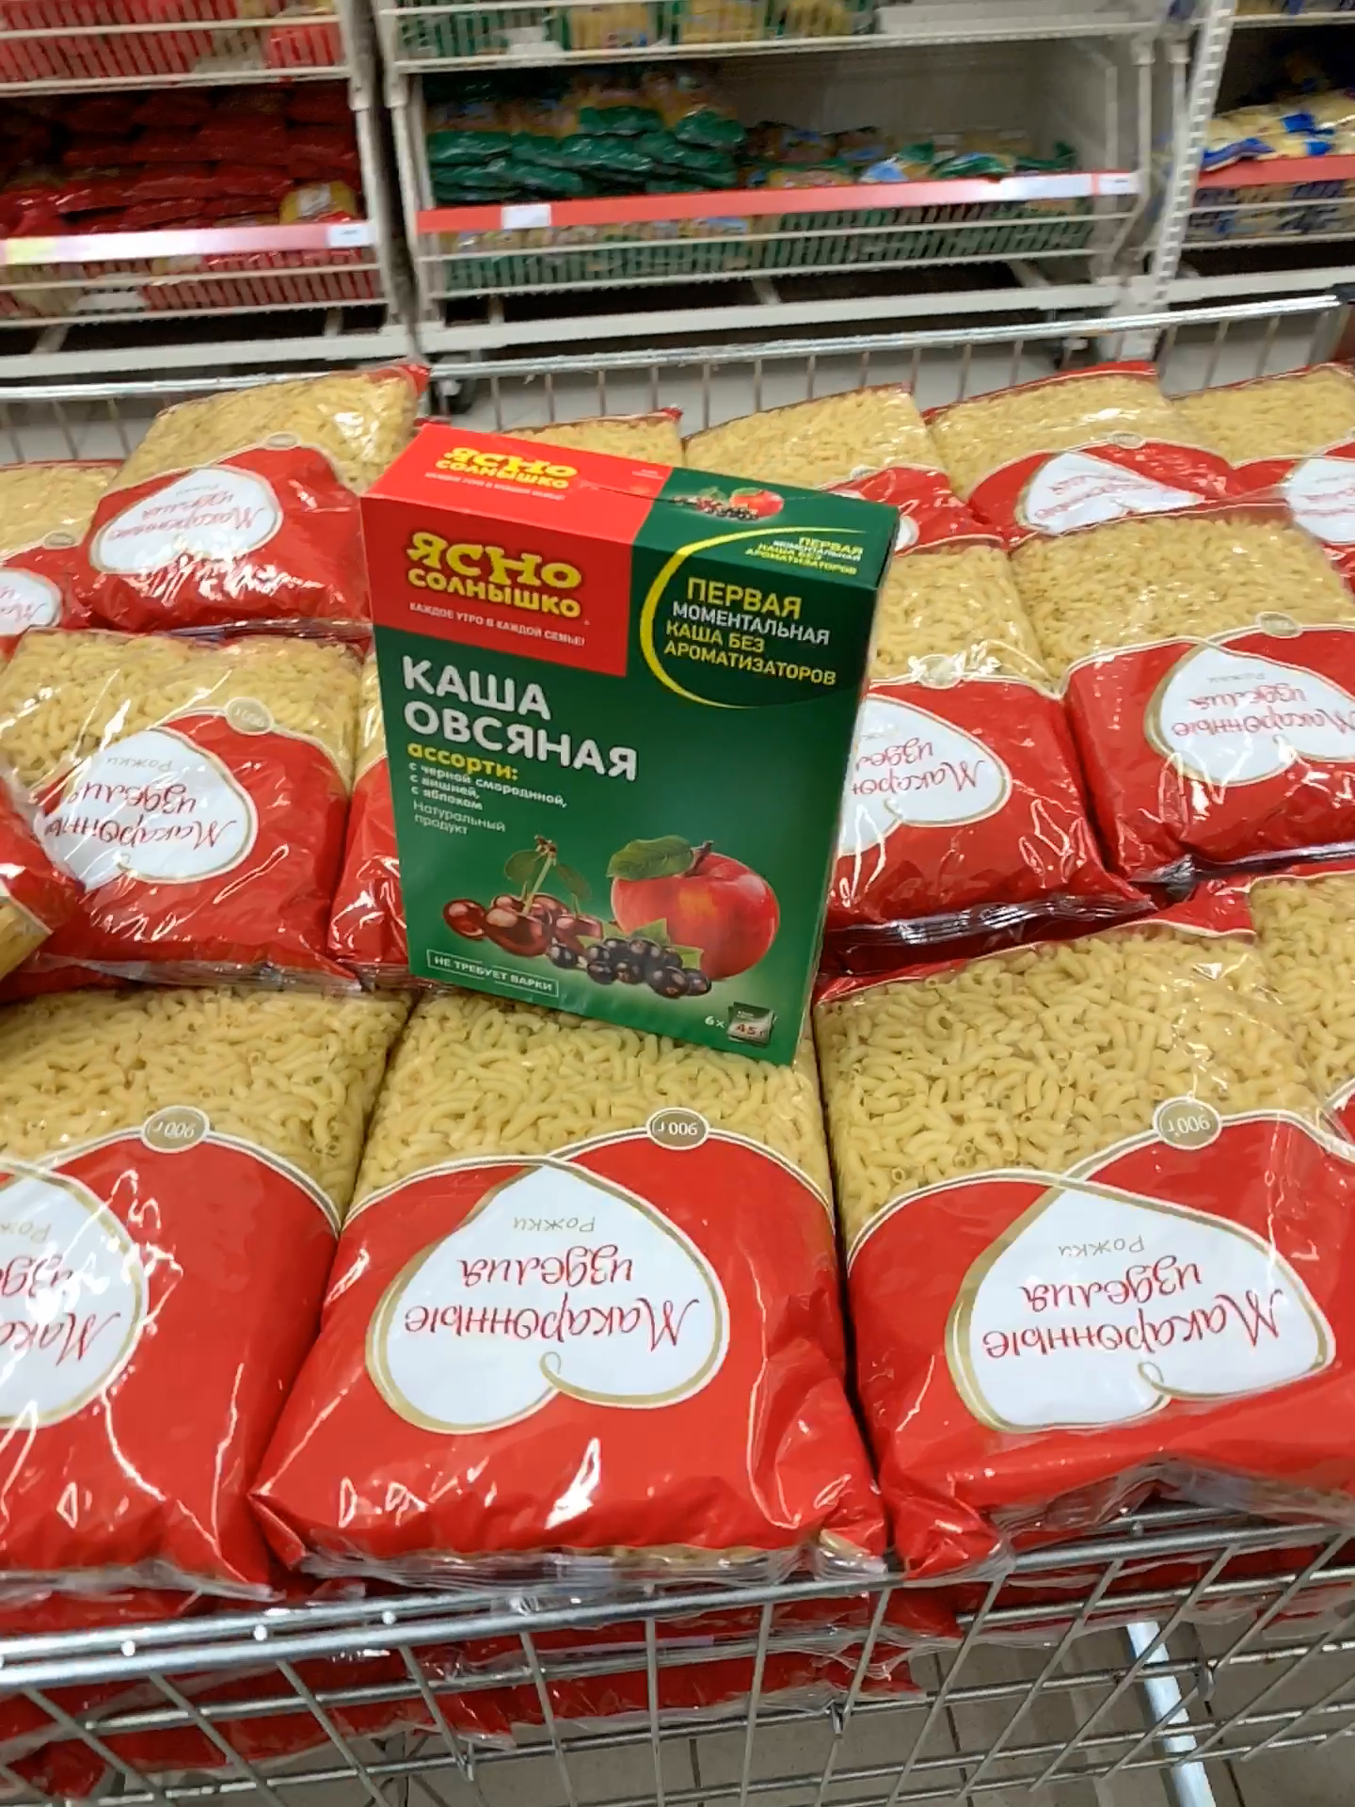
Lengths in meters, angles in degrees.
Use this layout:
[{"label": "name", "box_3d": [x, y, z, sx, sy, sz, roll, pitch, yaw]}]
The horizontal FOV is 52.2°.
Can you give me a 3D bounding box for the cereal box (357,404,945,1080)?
[{"label": "cereal box", "box_3d": [-0.012, -0.047, 0.467, 0.160, 0.198, 0.060, 13, 42, 9]}]
